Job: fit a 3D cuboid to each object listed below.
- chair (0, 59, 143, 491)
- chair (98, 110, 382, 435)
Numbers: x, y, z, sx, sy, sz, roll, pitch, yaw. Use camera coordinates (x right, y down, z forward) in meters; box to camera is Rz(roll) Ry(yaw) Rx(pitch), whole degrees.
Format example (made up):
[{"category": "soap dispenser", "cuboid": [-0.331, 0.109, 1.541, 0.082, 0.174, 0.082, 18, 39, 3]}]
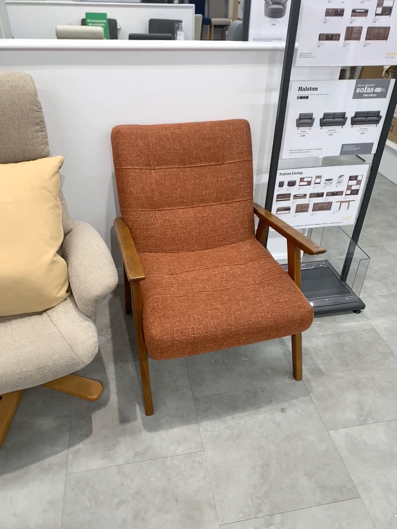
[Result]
[{"category": "chair", "cuboid": [-0.648, -0.020, 1.273, 0.698, 1.013, 0.685, -14, 37, -22]}, {"category": "chair", "cuboid": [0.054, -0.015, 1.516, 0.687, 0.884, 0.706, -8, 35, -14]}]
